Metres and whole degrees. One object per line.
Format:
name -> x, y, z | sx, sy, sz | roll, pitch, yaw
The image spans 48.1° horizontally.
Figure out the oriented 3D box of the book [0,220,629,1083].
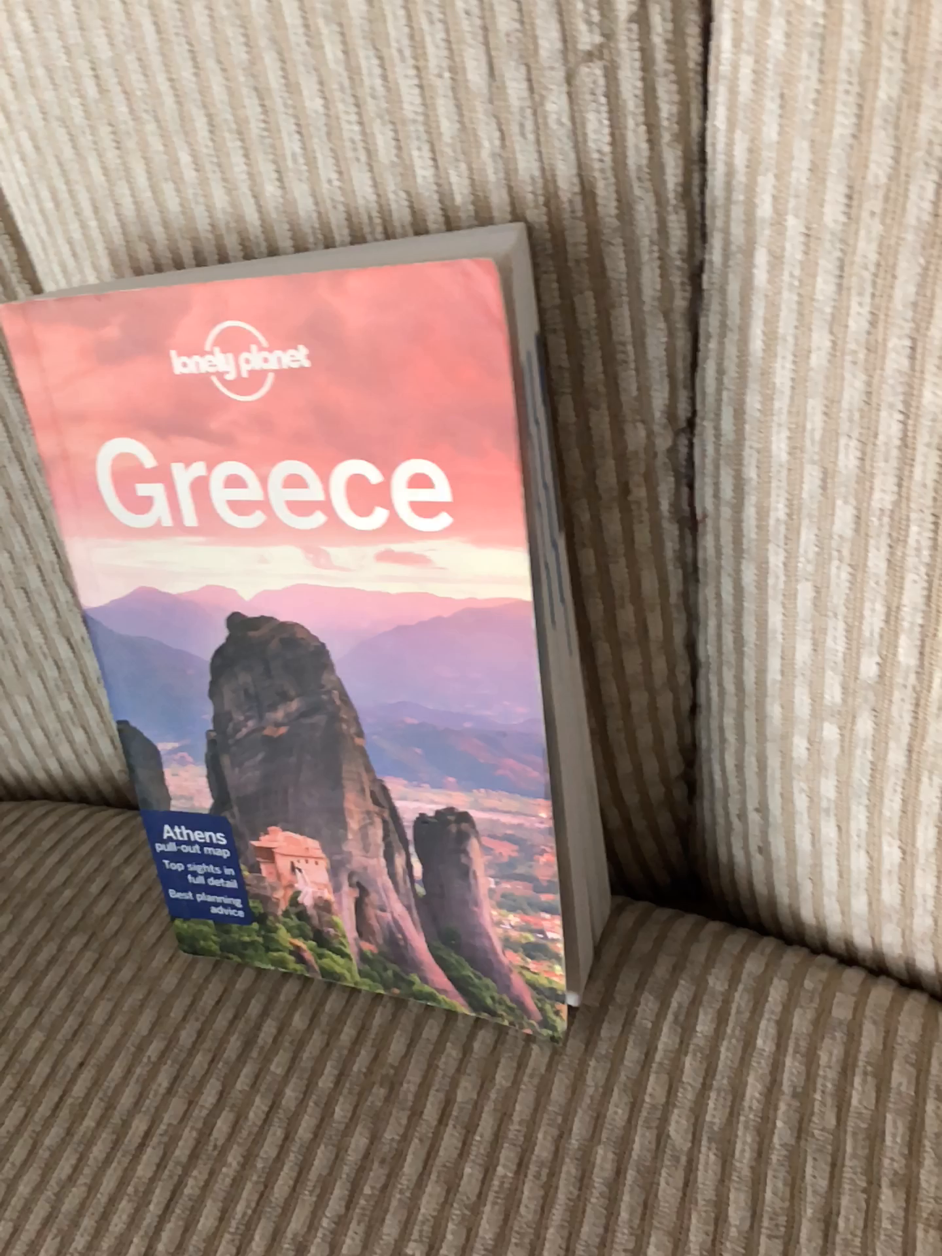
book -> -0.036, 0.010, 0.274 | 0.133, 0.201, 0.041 | 4, 24, 27
